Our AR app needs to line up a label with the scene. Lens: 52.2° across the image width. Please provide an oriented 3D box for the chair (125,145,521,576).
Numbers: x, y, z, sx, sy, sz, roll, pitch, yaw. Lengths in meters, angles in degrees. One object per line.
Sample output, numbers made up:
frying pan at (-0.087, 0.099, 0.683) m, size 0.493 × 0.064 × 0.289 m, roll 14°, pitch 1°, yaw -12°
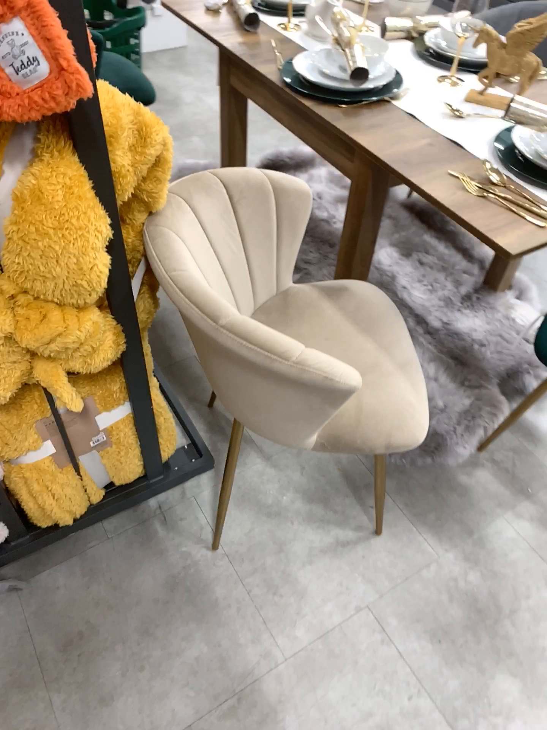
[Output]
chair at (0.033, 0.010, 1.201) m, size 0.535 × 0.722 × 0.565 m, roll -2°, pitch 47°, yaw -5°
